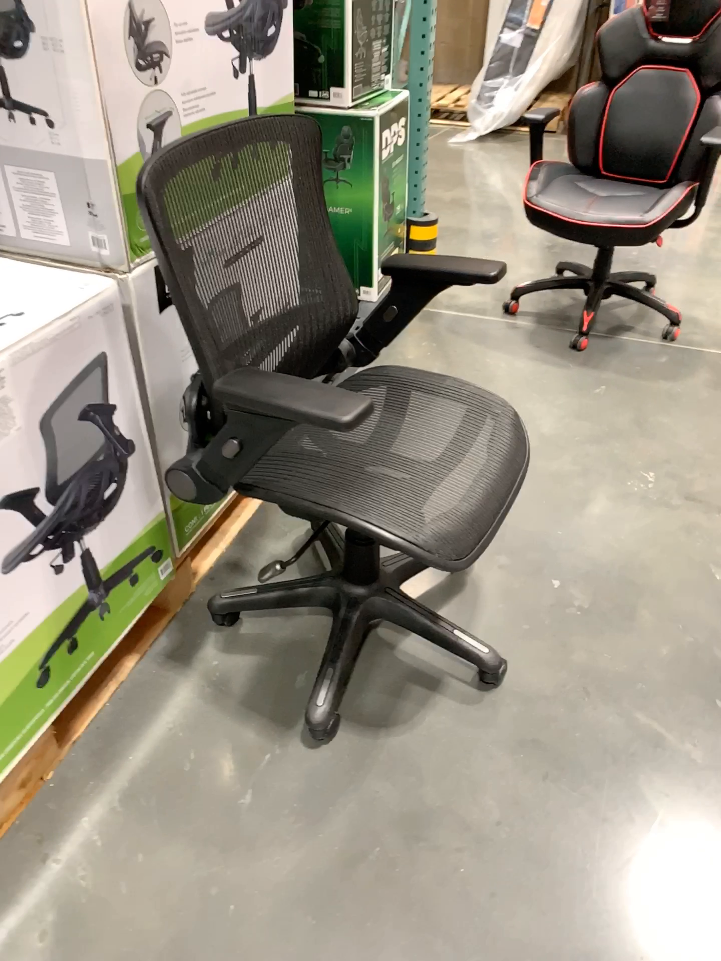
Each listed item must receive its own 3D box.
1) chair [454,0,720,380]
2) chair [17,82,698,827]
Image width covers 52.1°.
[{"bbox_3d":[0.935,-1.158,2.572,0.757,1.146,0.969,22,42,26],"label":"chair"},{"bbox_3d":[0.038,-0.090,1.342,0.736,0.987,0.678,18,40,22],"label":"chair"}]
